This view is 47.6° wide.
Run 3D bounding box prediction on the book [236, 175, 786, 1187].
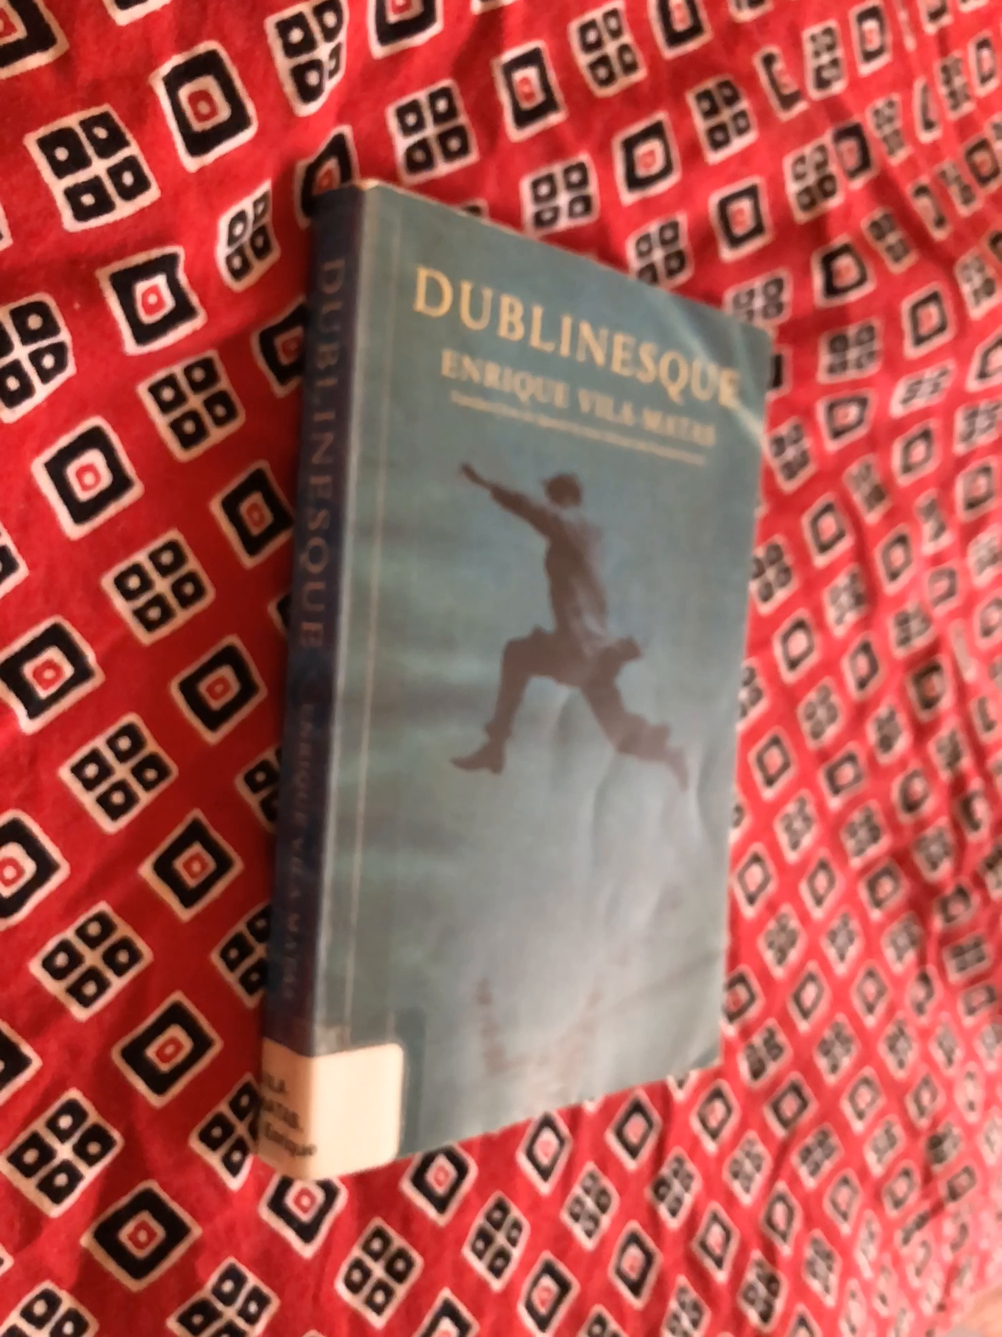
[{"bbox_3d":[0.011,0.007,0.279,0.138,0.020,0.203,3,93,-40],"label":"book"}]
